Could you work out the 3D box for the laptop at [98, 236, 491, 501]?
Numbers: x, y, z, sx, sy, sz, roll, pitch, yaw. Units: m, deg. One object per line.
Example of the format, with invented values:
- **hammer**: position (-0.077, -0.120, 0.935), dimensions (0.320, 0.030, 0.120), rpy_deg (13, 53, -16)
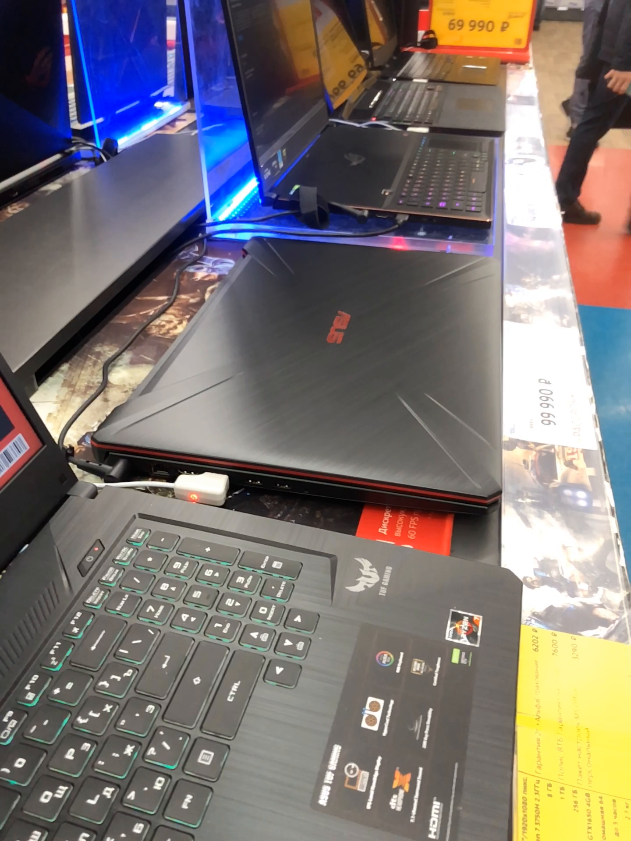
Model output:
- **laptop**: position (0.019, -0.079, 0.606), dimensions (0.252, 0.002, 0.390), rpy_deg (8, 37, 10)
